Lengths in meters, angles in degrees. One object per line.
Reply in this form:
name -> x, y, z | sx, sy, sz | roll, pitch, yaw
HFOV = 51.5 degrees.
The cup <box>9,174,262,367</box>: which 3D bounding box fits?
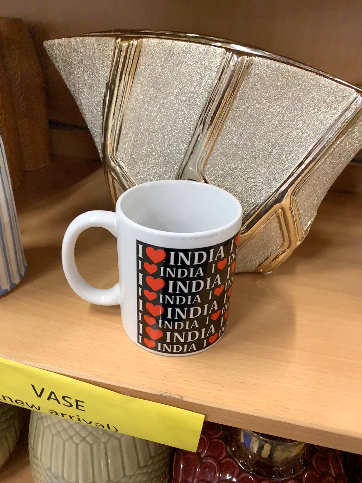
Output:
cup -> -0.024, 0.015, 0.254 | 0.130, 0.090, 0.090 | 2, 28, 0
